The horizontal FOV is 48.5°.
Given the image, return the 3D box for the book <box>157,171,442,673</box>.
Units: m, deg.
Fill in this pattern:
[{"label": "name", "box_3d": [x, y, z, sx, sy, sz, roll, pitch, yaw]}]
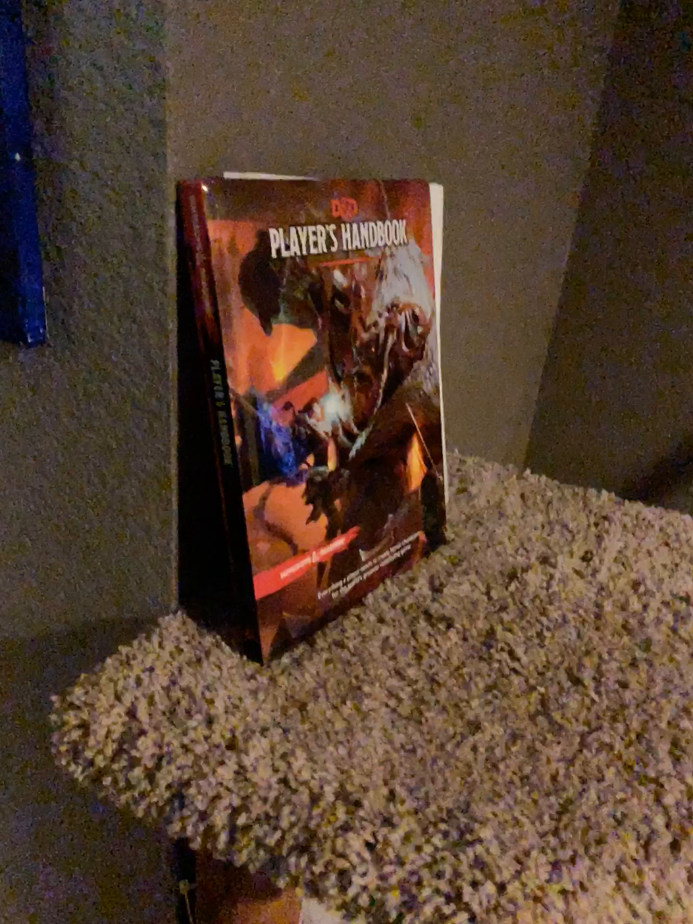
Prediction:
[{"label": "book", "box_3d": [-0.010, -0.042, 0.527, 0.040, 0.290, 0.230, 11, 22, 35]}]
